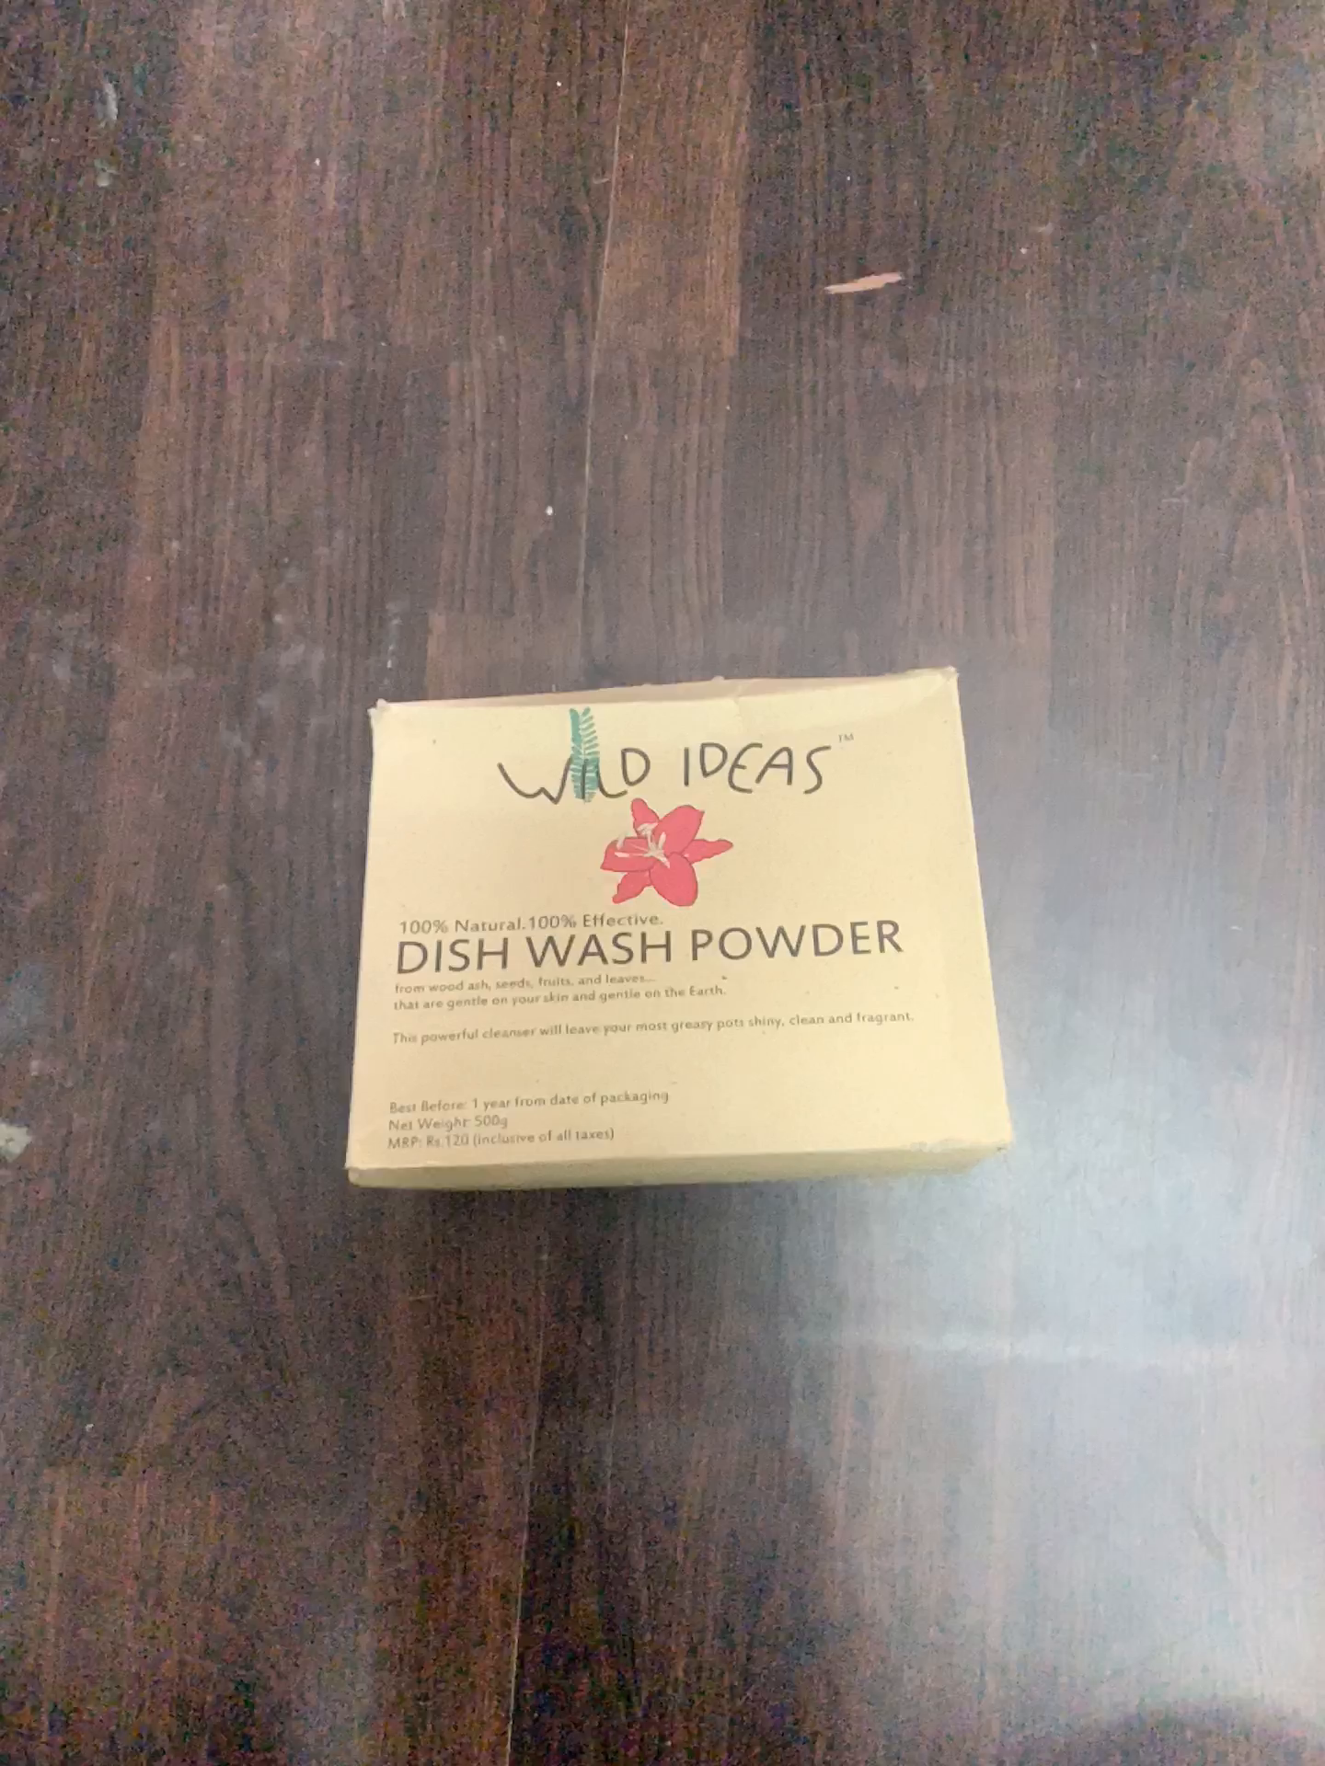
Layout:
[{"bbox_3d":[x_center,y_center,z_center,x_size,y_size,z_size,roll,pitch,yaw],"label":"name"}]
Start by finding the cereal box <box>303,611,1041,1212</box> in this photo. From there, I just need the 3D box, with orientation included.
[{"bbox_3d":[0.001,0.010,0.386,0.180,0.060,0.150,-3,69,4],"label":"cereal box"}]
